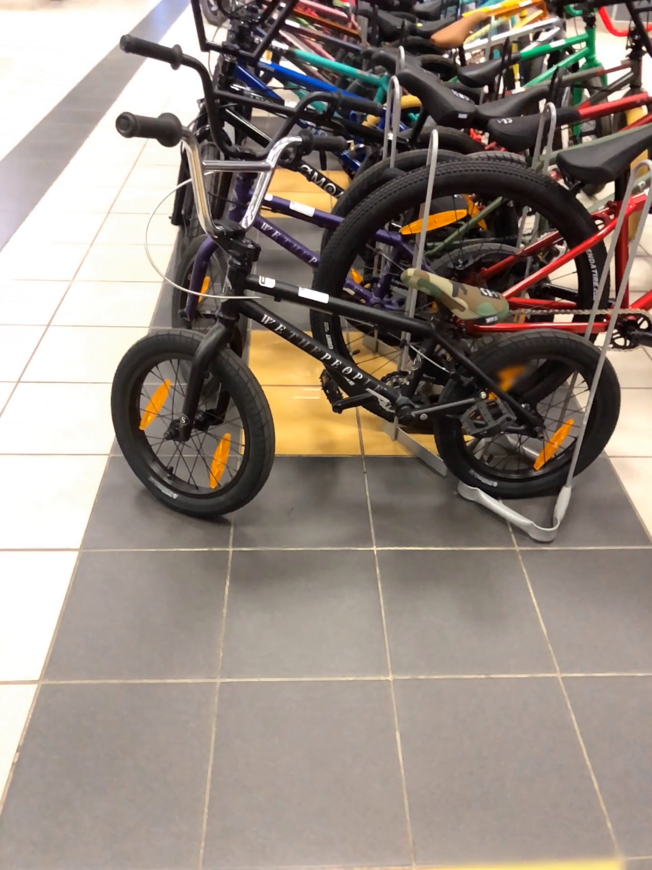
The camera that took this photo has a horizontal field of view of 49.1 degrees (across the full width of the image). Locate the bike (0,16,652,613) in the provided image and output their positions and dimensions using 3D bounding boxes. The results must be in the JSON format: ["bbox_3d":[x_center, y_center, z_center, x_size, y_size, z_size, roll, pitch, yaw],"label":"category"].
[{"bbox_3d":[0.099,-0.237,1.371,1.071,0.810,0.680,4,36,-1],"label":"bike"}]
